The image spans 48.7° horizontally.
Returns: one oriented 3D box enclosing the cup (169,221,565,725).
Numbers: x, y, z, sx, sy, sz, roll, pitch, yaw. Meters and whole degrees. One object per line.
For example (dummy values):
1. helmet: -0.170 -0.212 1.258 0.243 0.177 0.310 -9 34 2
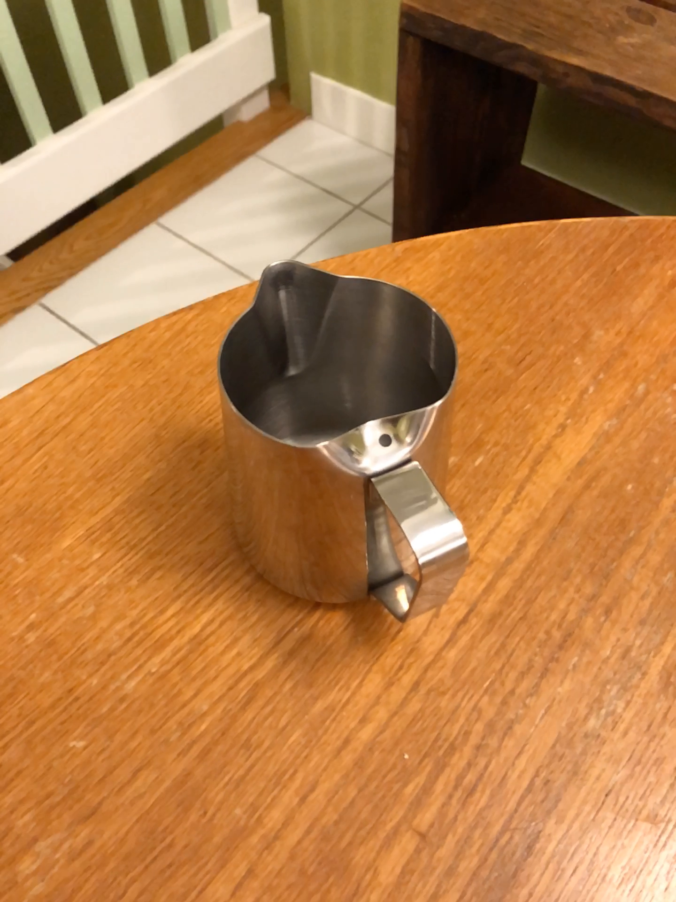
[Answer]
1. cup: 0.003 0.009 0.288 0.082 0.115 0.136 -18 57 -11
